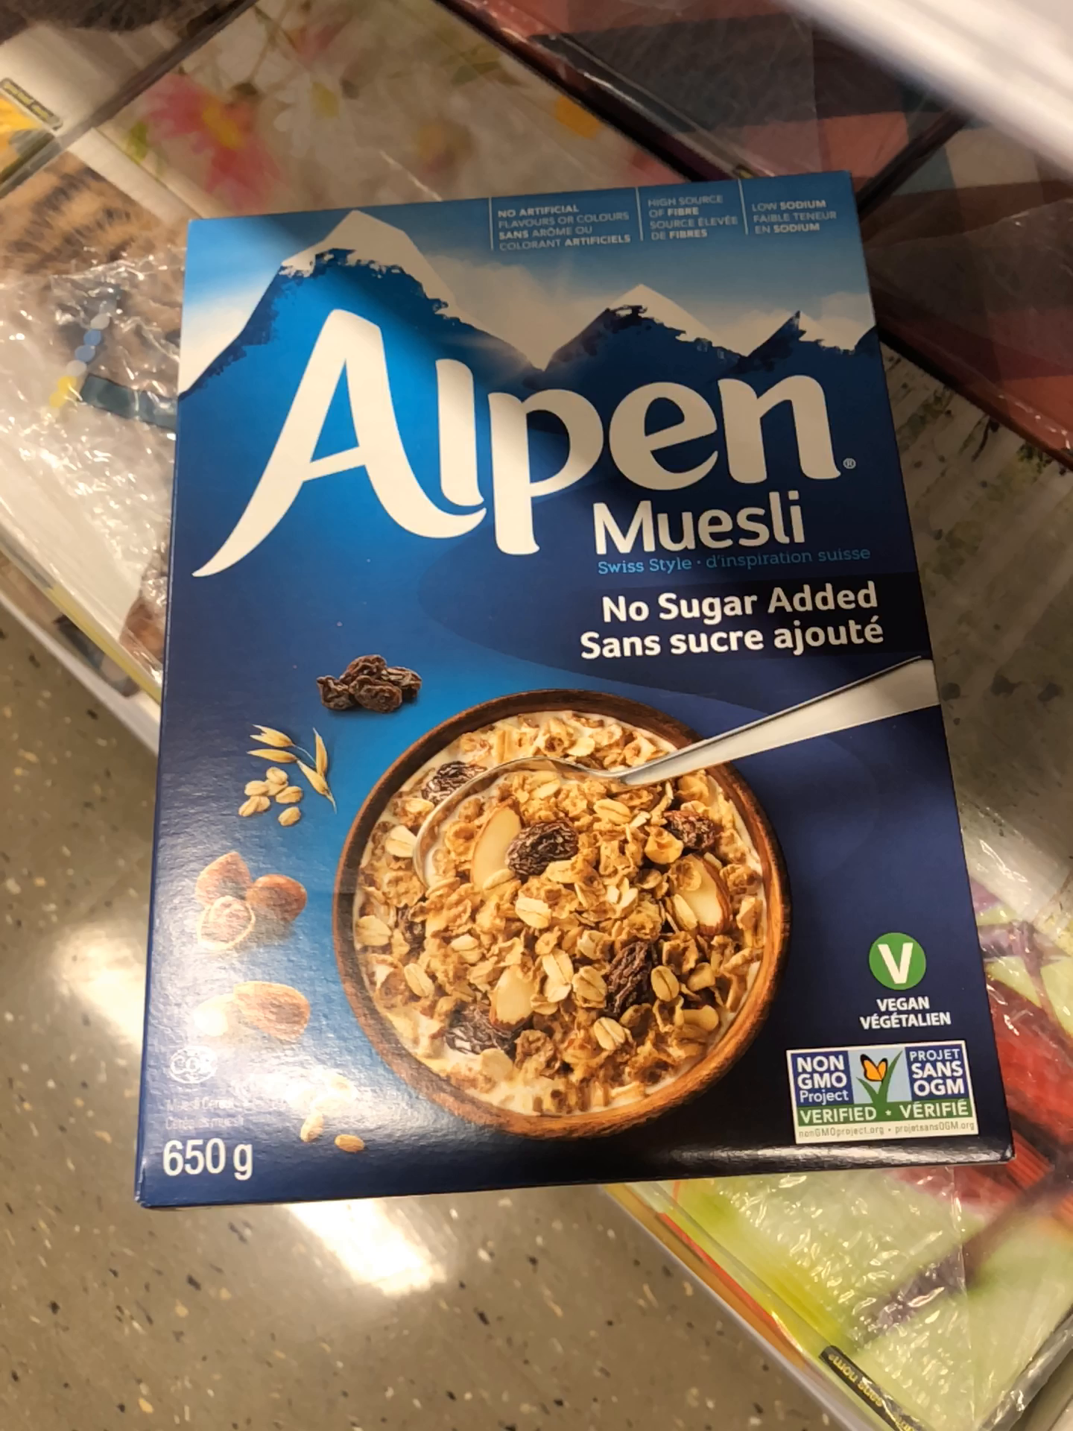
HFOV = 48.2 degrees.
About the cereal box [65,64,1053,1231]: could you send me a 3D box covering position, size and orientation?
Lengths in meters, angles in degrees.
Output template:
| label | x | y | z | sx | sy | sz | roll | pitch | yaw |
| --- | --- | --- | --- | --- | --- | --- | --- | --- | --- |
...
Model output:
| label | x | y | z | sx | sy | sz | roll | pitch | yaw |
| --- | --- | --- | --- | --- | --- | --- | --- | --- | --- |
| cereal box | -0.003 | -0.027 | 0.296 | 0.190 | 0.050 | 0.270 | -4 | 72 | 1 |
